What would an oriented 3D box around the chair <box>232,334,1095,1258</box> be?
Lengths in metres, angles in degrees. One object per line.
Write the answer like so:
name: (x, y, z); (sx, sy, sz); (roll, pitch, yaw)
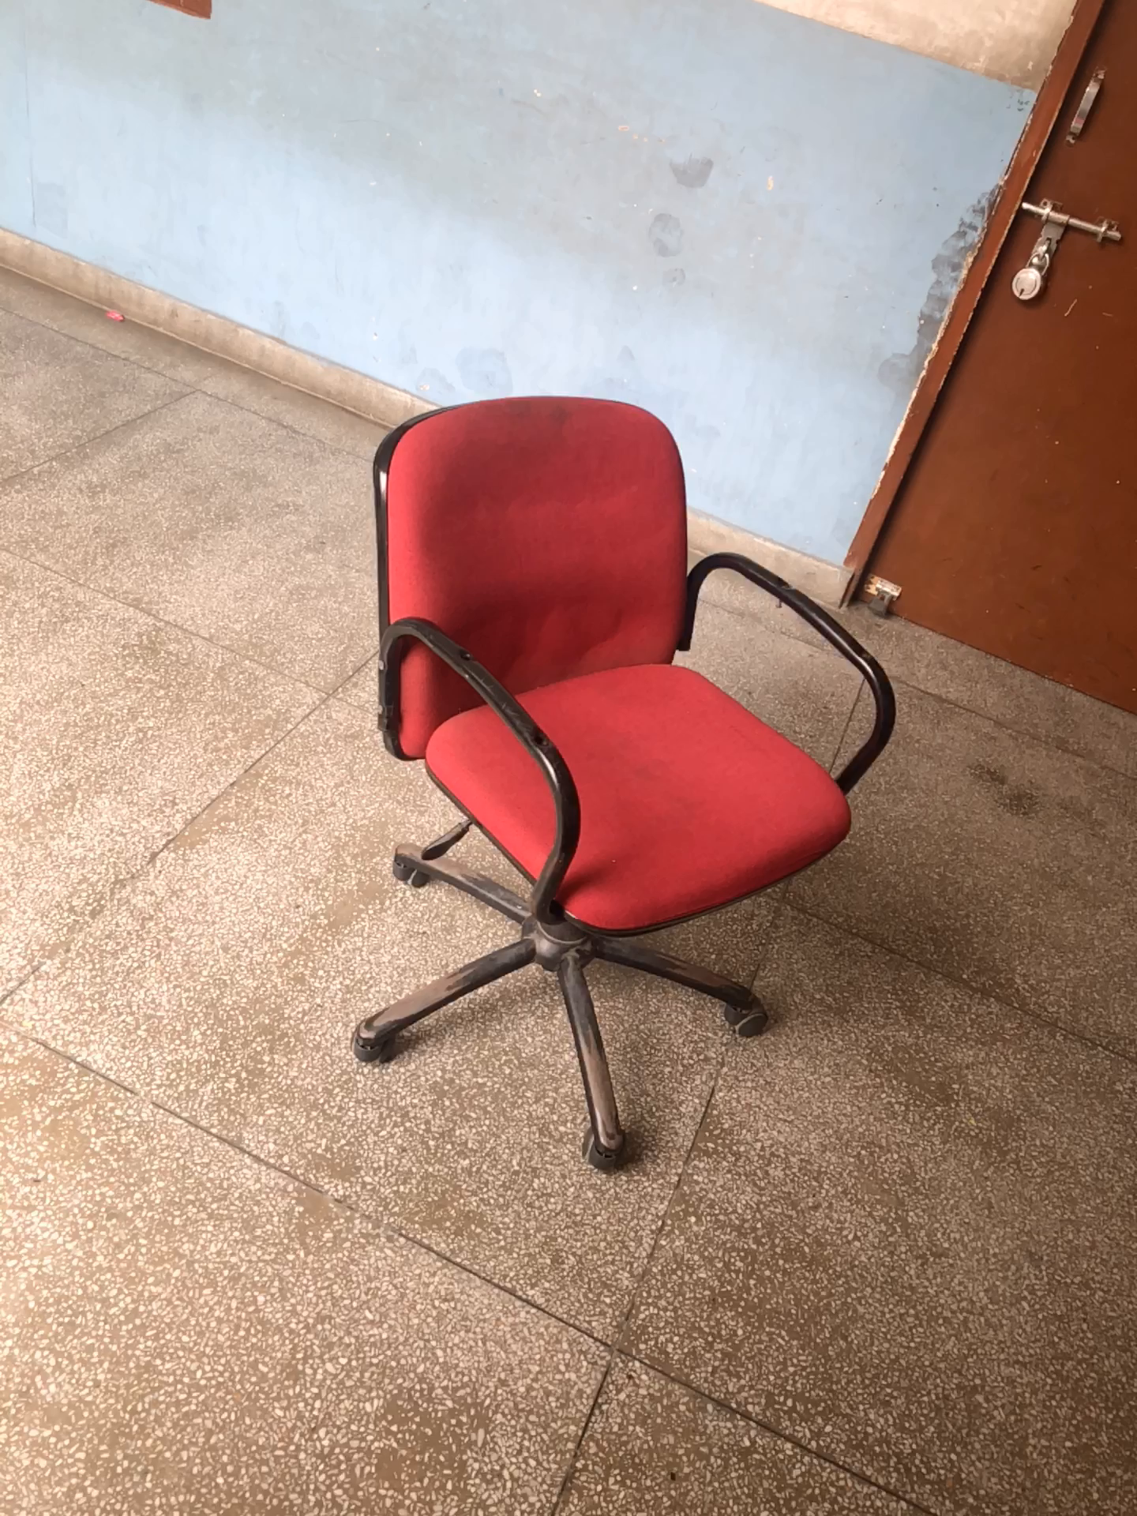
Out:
chair: (0.050, 0.003, 1.584); (0.652, 0.797, 0.641); (-20, 50, -38)
